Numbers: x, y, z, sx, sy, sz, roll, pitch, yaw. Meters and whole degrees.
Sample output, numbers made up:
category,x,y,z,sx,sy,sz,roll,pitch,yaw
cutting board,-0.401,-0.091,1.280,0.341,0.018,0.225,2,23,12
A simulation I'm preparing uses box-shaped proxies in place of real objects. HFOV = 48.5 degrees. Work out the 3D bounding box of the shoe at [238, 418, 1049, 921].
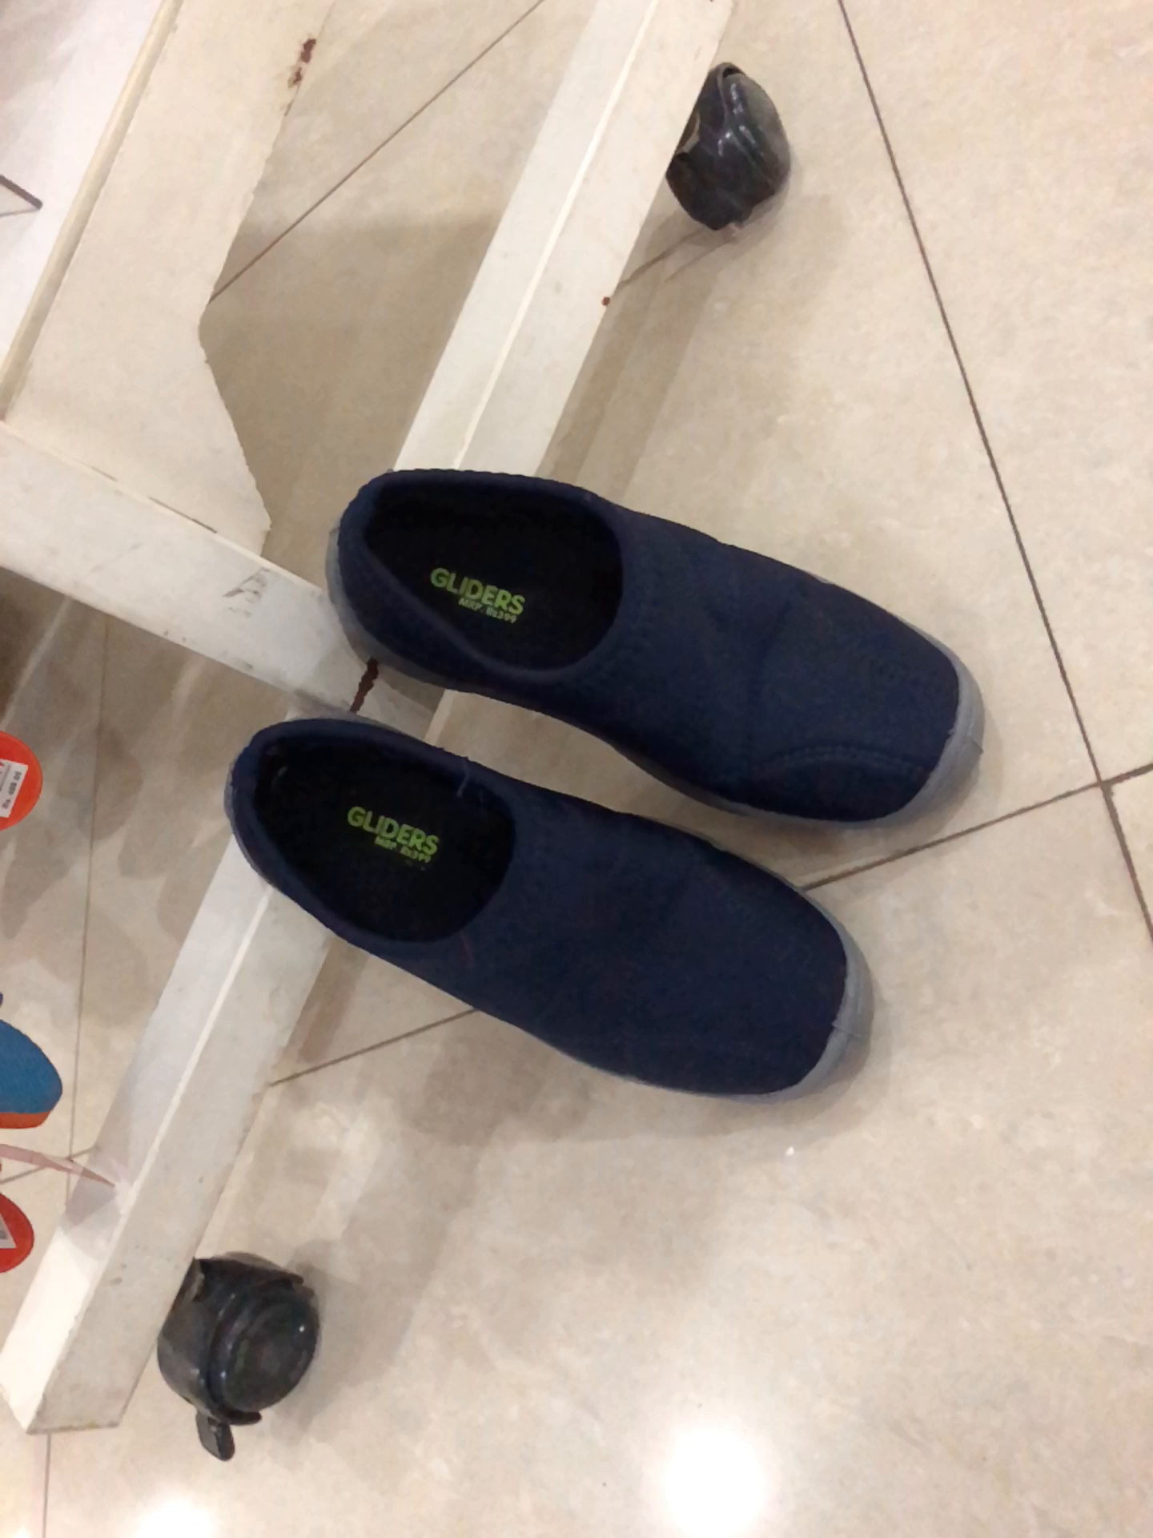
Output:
category,x,y,z,sx,sy,sz,roll,pitch,yaw
shoe,0.046,-0.063,0.925,0.490,0.207,0.186,18,83,10

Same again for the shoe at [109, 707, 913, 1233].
category,x,y,z,sx,sy,sz,roll,pitch,yaw
shoe,-0.039,0.132,0.866,0.461,0.200,0.160,20,80,9
